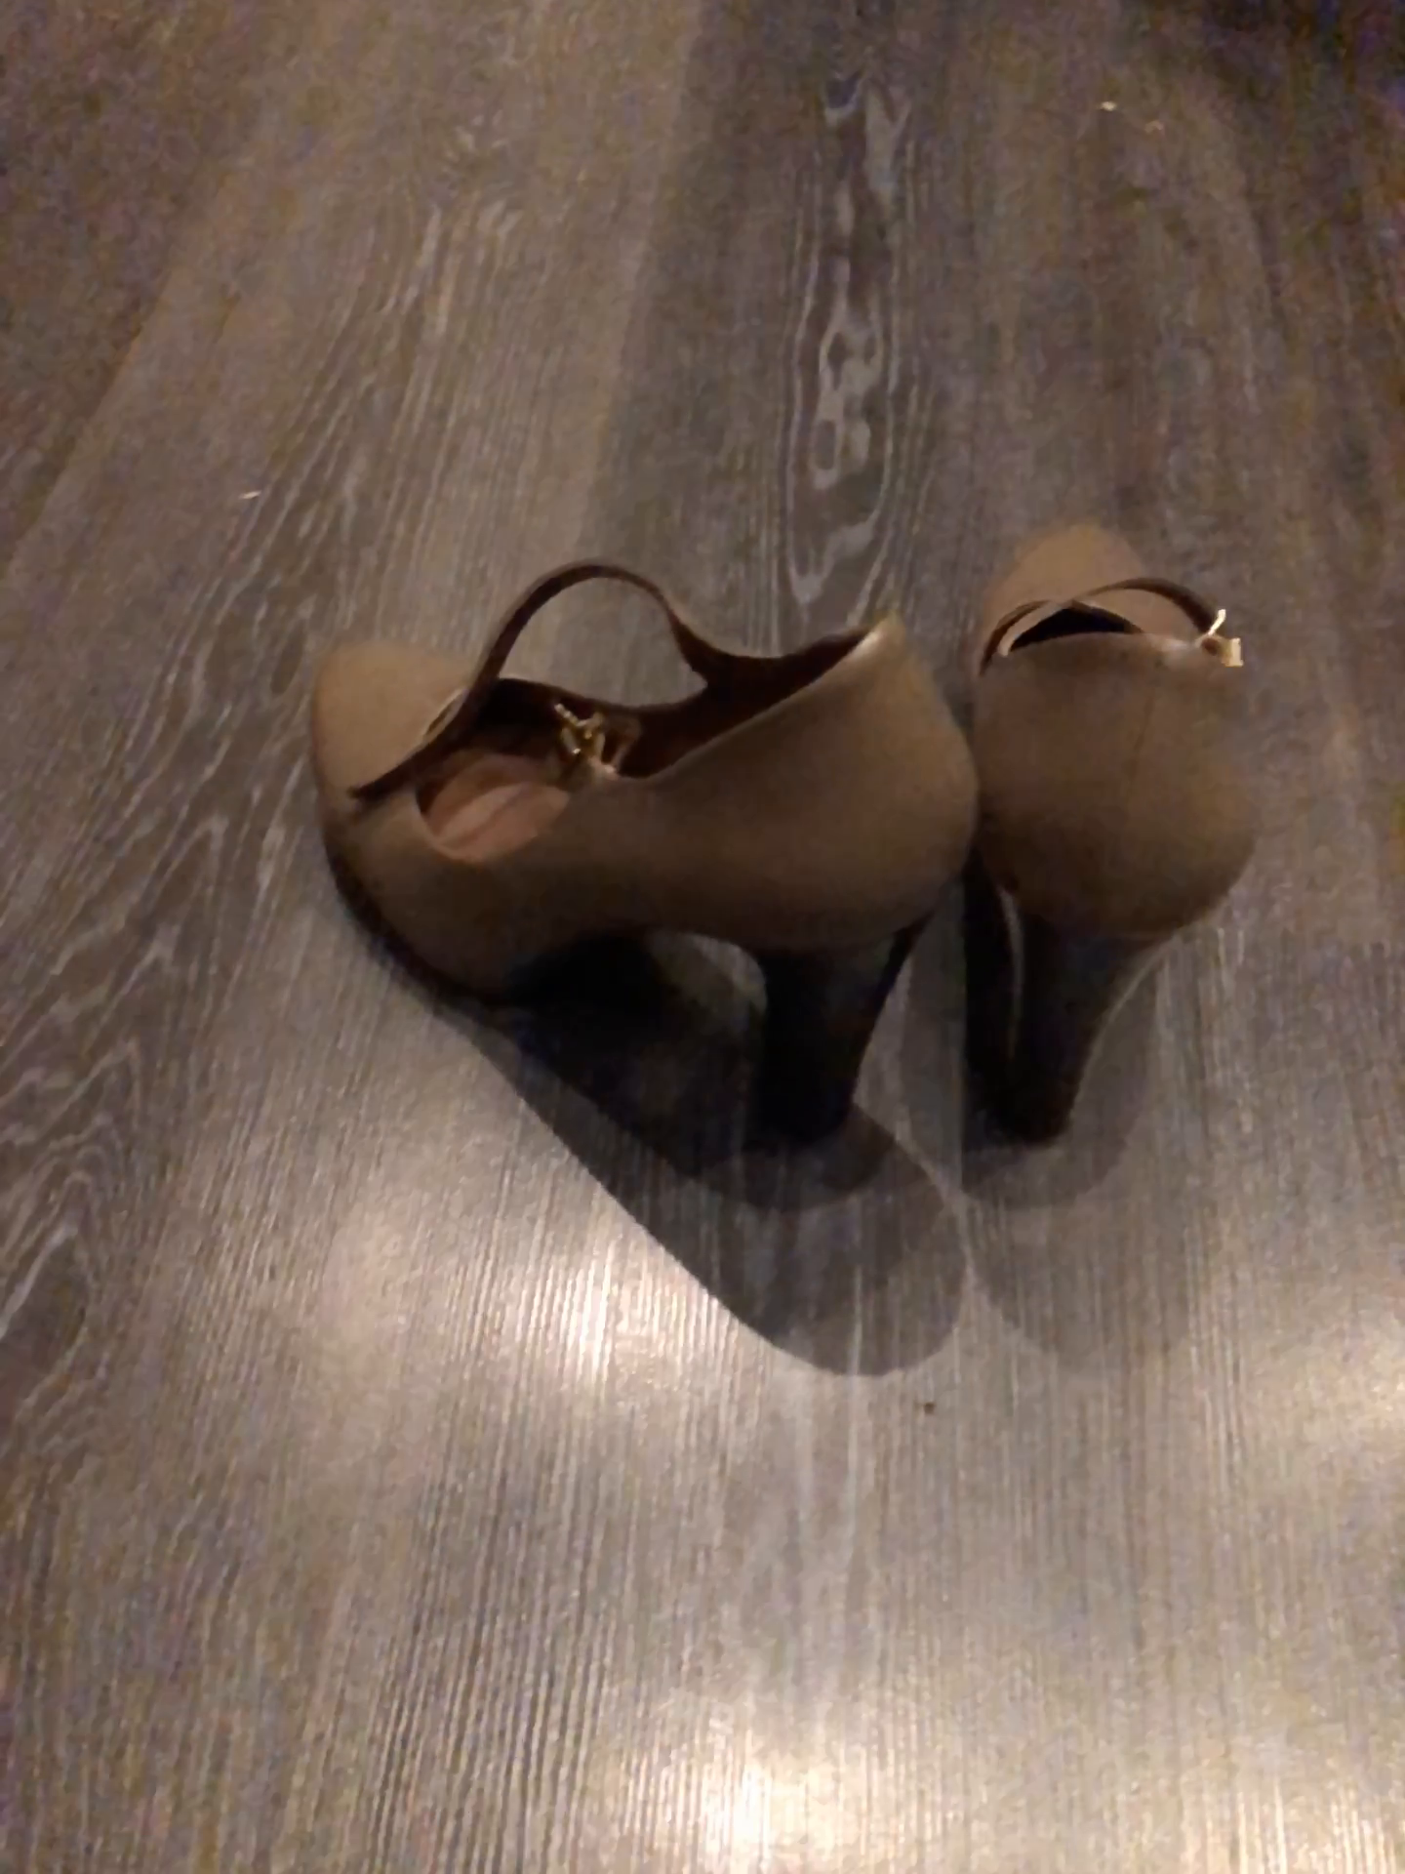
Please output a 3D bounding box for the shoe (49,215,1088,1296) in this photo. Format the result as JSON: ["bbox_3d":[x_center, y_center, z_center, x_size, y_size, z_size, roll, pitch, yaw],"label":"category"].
[{"bbox_3d":[-0.036,-0.044,0.371,0.211,0.149,0.090,39,62,24],"label":"shoe"}]

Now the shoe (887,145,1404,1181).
[{"bbox_3d":[0.110,-0.072,0.397,0.090,0.149,0.211,8,54,4],"label":"shoe"}]
